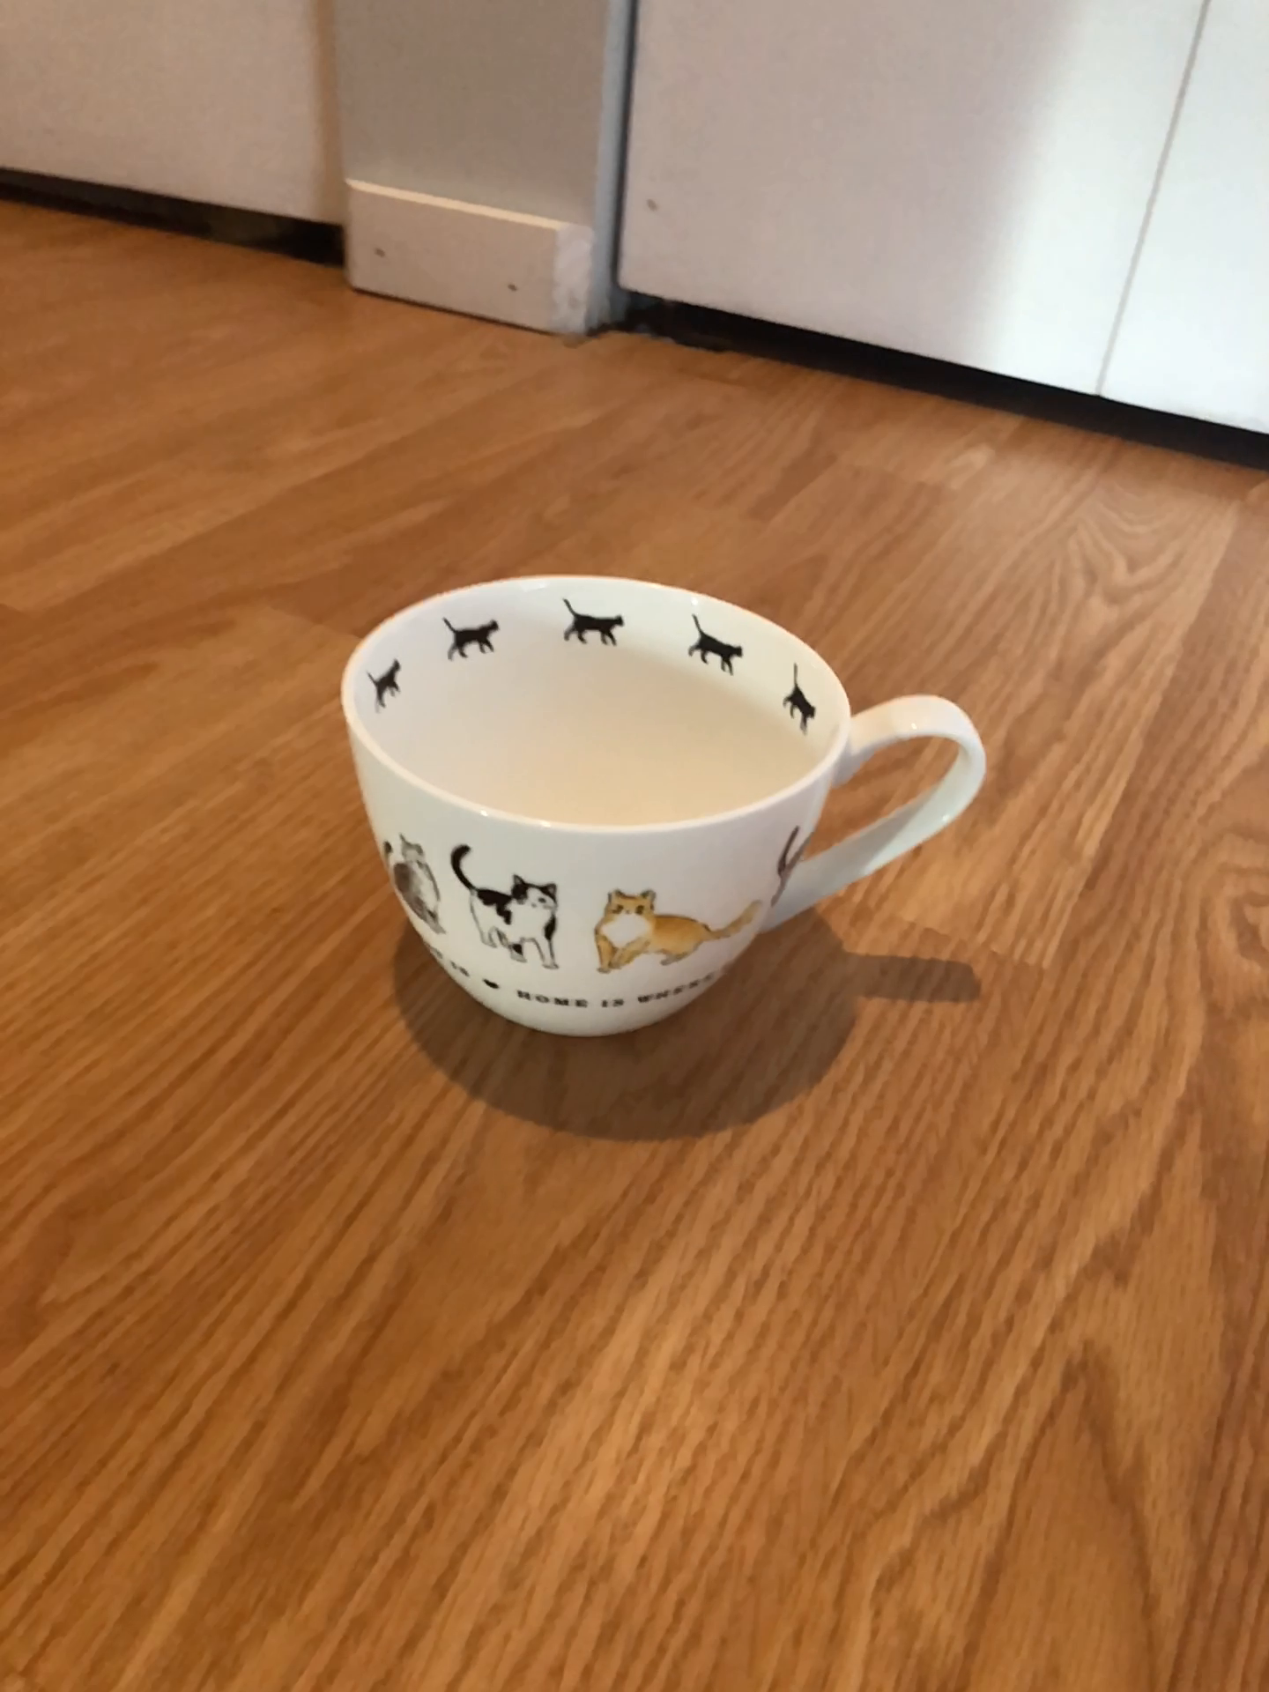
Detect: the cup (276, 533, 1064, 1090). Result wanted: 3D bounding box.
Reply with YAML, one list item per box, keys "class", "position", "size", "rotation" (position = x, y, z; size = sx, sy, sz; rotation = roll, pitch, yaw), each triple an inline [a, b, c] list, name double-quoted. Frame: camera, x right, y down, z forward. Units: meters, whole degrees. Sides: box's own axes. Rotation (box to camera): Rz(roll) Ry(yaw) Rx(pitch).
- class: "cup"
  position: [0.003, -0.012, 0.355]
  size: [0.160, 0.080, 0.120]
  rotation: [2, 36, -5]
